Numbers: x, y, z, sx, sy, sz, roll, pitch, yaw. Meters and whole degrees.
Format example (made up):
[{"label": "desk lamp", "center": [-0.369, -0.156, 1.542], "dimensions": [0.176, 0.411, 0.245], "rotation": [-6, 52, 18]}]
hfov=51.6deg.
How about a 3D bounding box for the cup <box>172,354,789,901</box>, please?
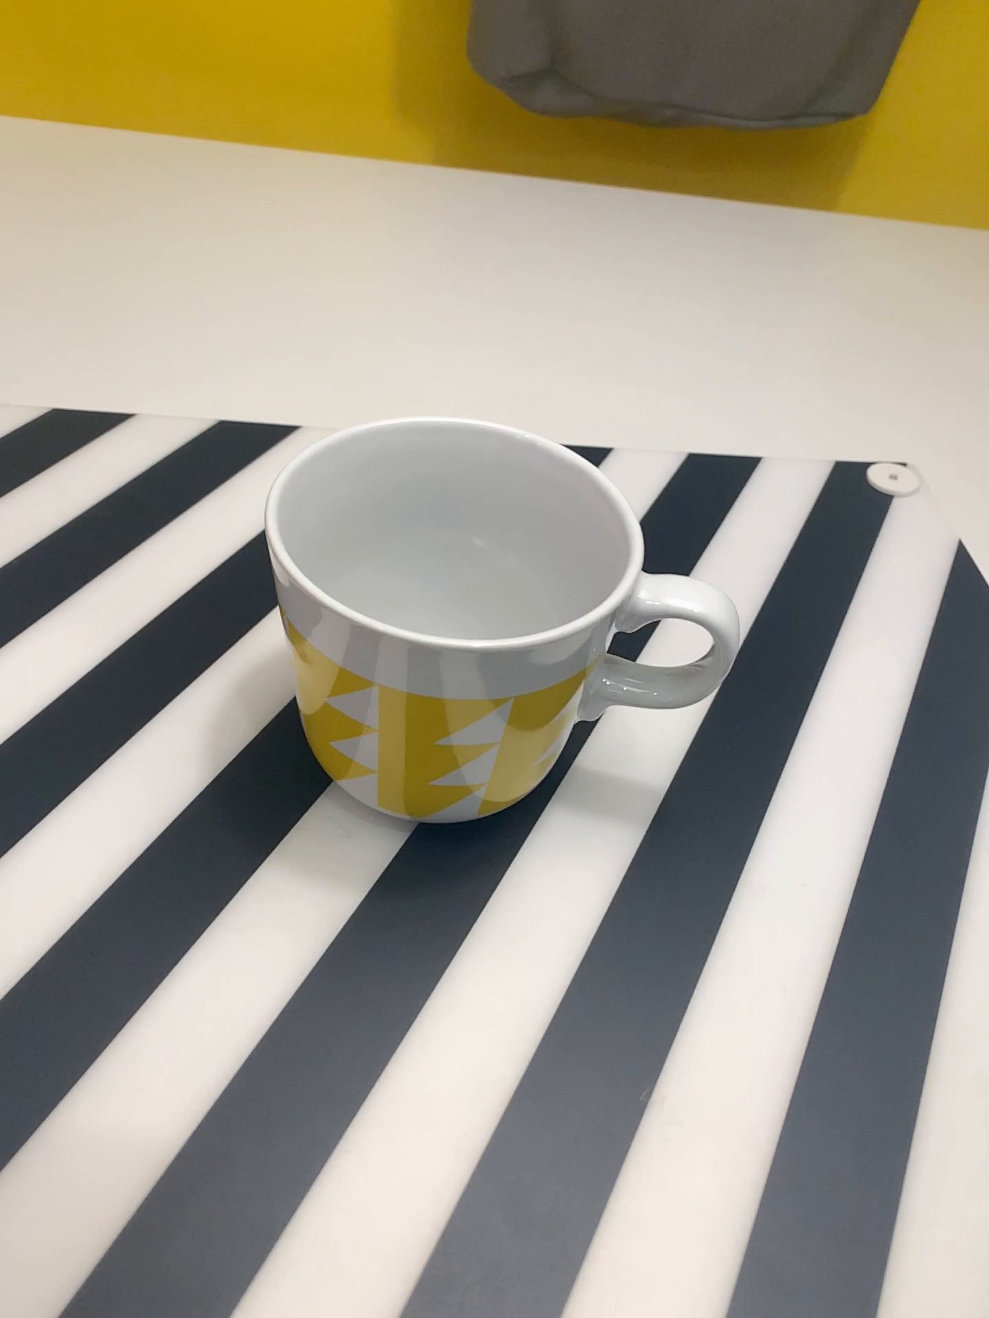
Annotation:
[{"label": "cup", "center": [-0.001, -0.009, 0.228], "dimensions": [0.110, 0.070, 0.070], "rotation": [14, 44, 5]}]
